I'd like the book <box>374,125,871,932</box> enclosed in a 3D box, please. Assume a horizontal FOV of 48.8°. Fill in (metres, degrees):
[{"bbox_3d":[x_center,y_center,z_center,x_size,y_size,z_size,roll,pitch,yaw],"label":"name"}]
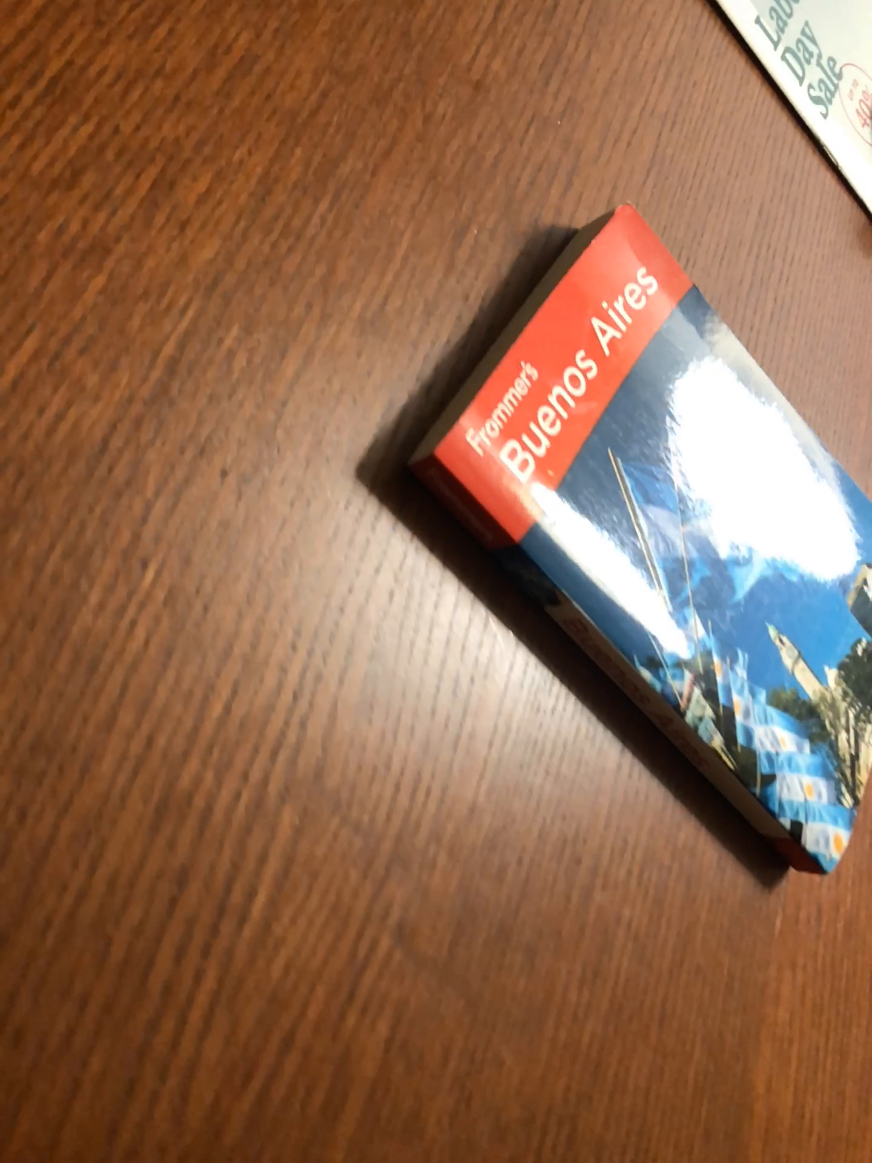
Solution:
[{"bbox_3d":[0.101,-0.017,0.317,0.220,0.020,0.161,43,57,-19],"label":"book"}]
